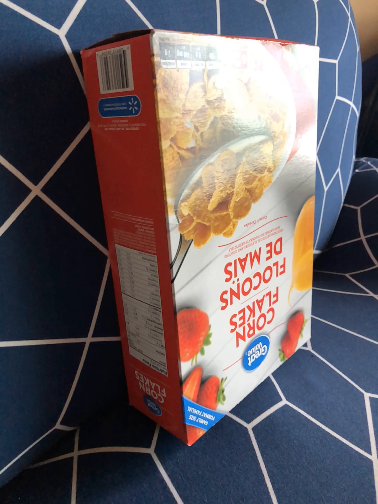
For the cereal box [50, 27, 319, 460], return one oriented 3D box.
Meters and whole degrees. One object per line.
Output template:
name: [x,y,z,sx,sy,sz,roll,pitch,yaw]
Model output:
cereal box: [0.024,-0.021,0.399,0.100,0.319,0.221,11,25,43]
